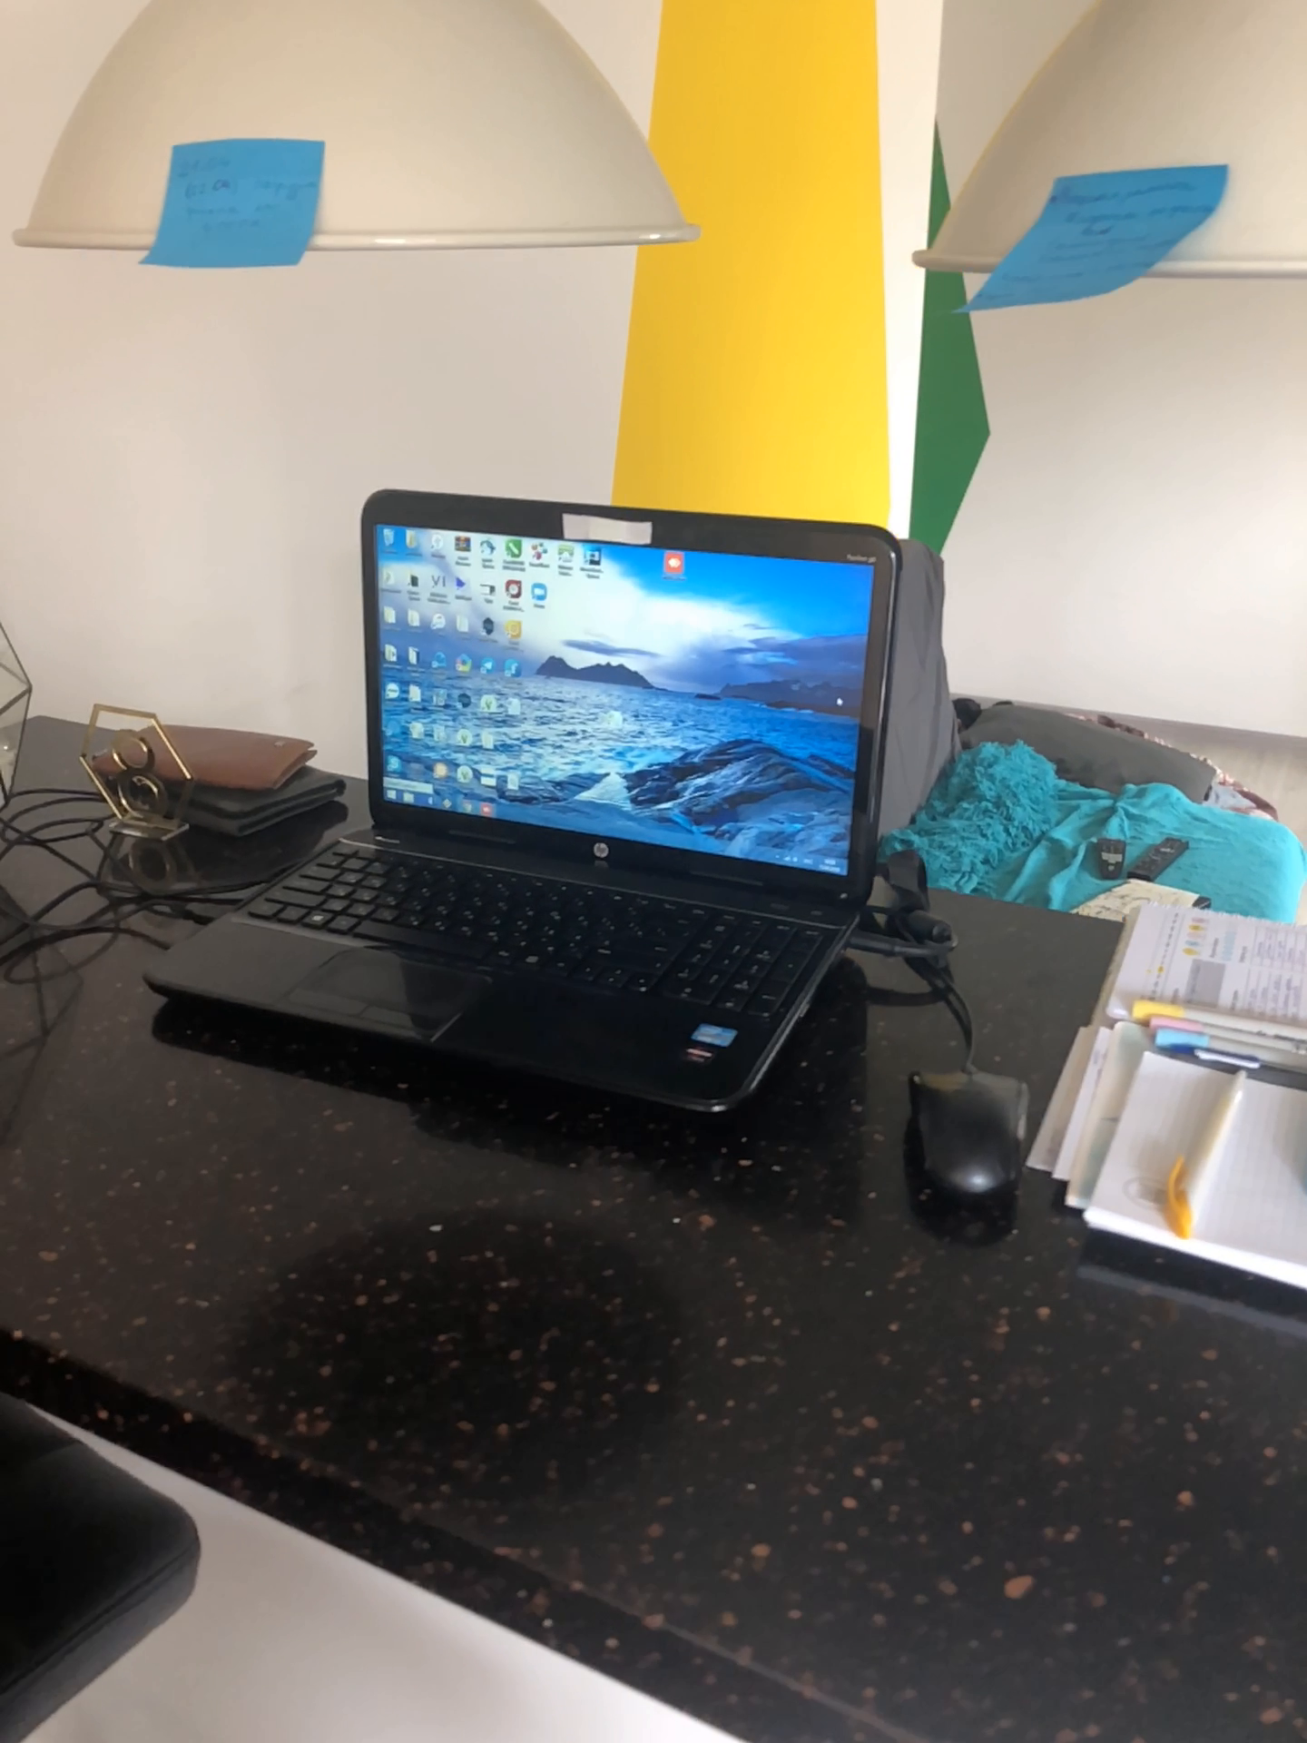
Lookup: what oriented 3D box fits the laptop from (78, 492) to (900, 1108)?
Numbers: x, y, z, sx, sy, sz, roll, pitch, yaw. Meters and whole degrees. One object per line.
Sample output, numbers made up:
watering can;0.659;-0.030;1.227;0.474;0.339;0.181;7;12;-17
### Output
laptop;-0.075;-0.070;0.827;0.361;0.217;0.268;10;27;22
